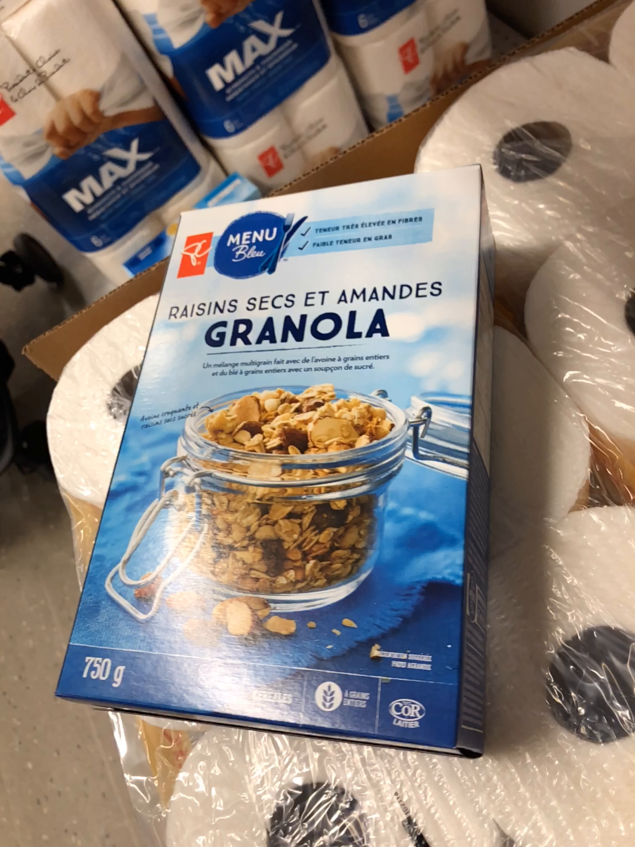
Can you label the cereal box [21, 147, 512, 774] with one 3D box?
[{"bbox_3d":[-0.007,0.005,0.319,0.170,0.060,0.250,-1,64,21],"label":"cereal box"}]
